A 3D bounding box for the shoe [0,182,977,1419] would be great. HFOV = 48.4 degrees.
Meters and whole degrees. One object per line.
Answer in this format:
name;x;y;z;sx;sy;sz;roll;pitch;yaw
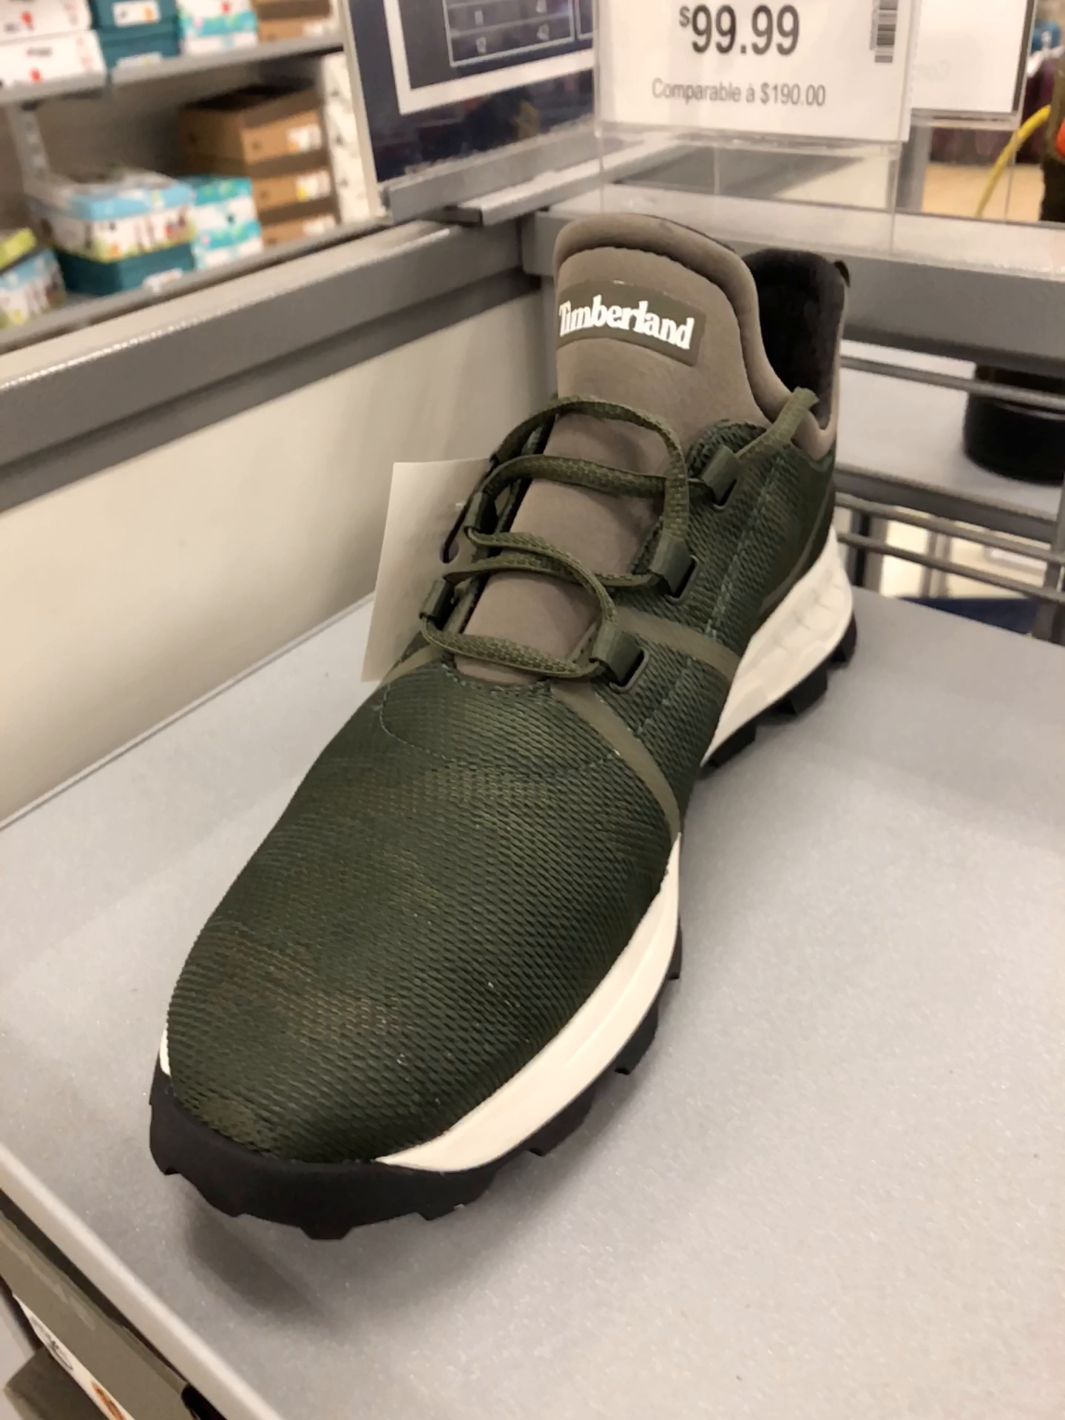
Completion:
shoe;0.003;-0.026;0.316;0.130;0.149;0.312;16;39;26
